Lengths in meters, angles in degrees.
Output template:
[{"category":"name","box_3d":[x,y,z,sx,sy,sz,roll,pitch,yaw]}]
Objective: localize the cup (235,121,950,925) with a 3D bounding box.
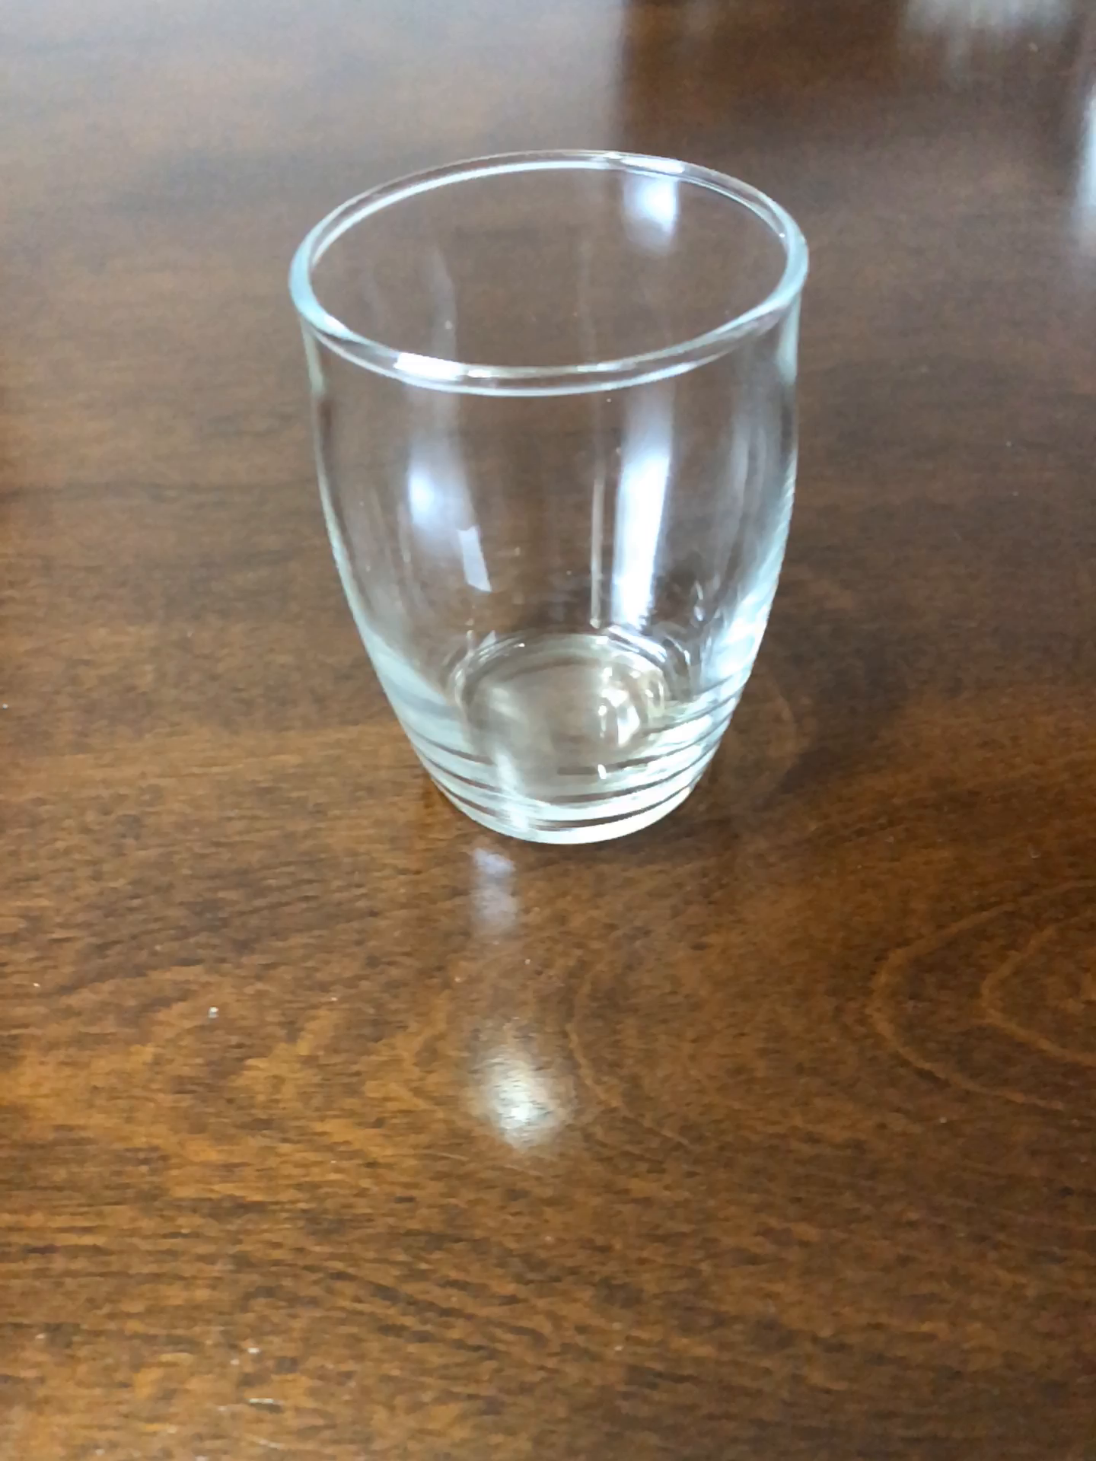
[{"category":"cup","box_3d":[0.002,-0.028,0.161,0.060,0.070,0.060,-2,45,2]}]
